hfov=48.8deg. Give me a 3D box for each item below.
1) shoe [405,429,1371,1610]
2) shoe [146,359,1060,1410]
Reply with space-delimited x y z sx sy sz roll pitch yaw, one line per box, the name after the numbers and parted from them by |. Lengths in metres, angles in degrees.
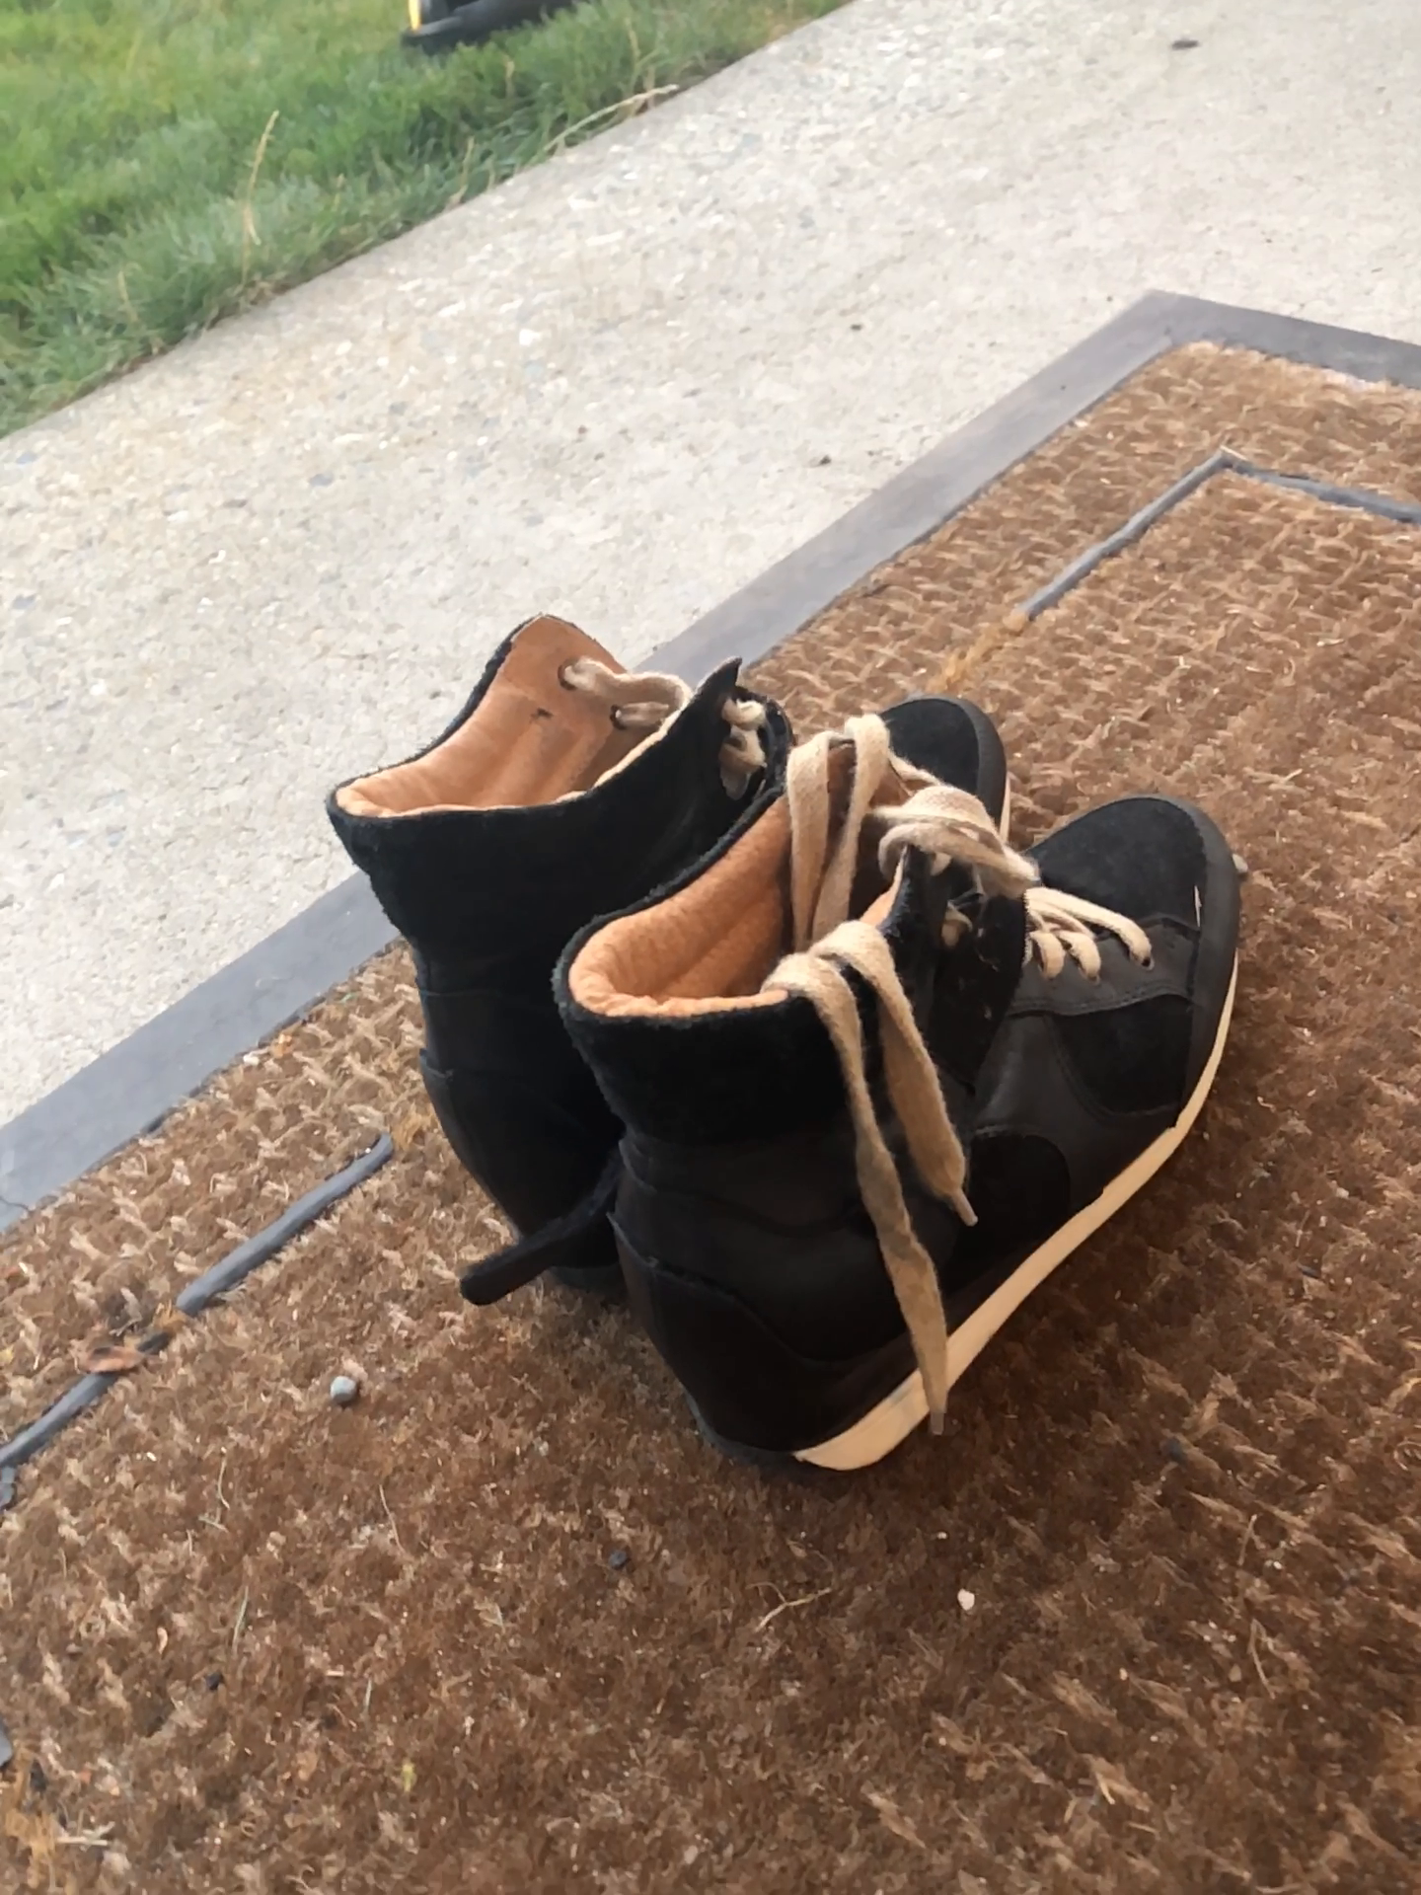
0.060 0.010 0.385 0.090 0.159 0.231 24 57 31 | shoe
-0.004 -0.026 0.436 0.090 0.159 0.241 24 57 31 | shoe
